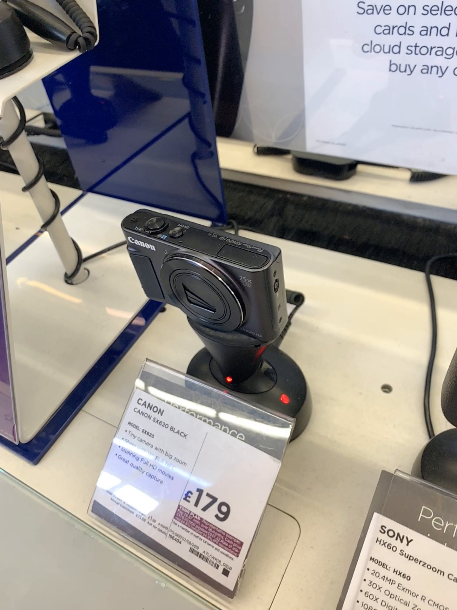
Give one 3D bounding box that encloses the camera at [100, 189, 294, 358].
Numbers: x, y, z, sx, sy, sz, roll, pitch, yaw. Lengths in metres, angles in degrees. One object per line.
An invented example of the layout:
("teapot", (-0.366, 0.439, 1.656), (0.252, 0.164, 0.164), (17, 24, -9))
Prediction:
("camera", (-0.015, -0.018, 0.246), (0.090, 0.059, 0.030), (20, 53, 27))
